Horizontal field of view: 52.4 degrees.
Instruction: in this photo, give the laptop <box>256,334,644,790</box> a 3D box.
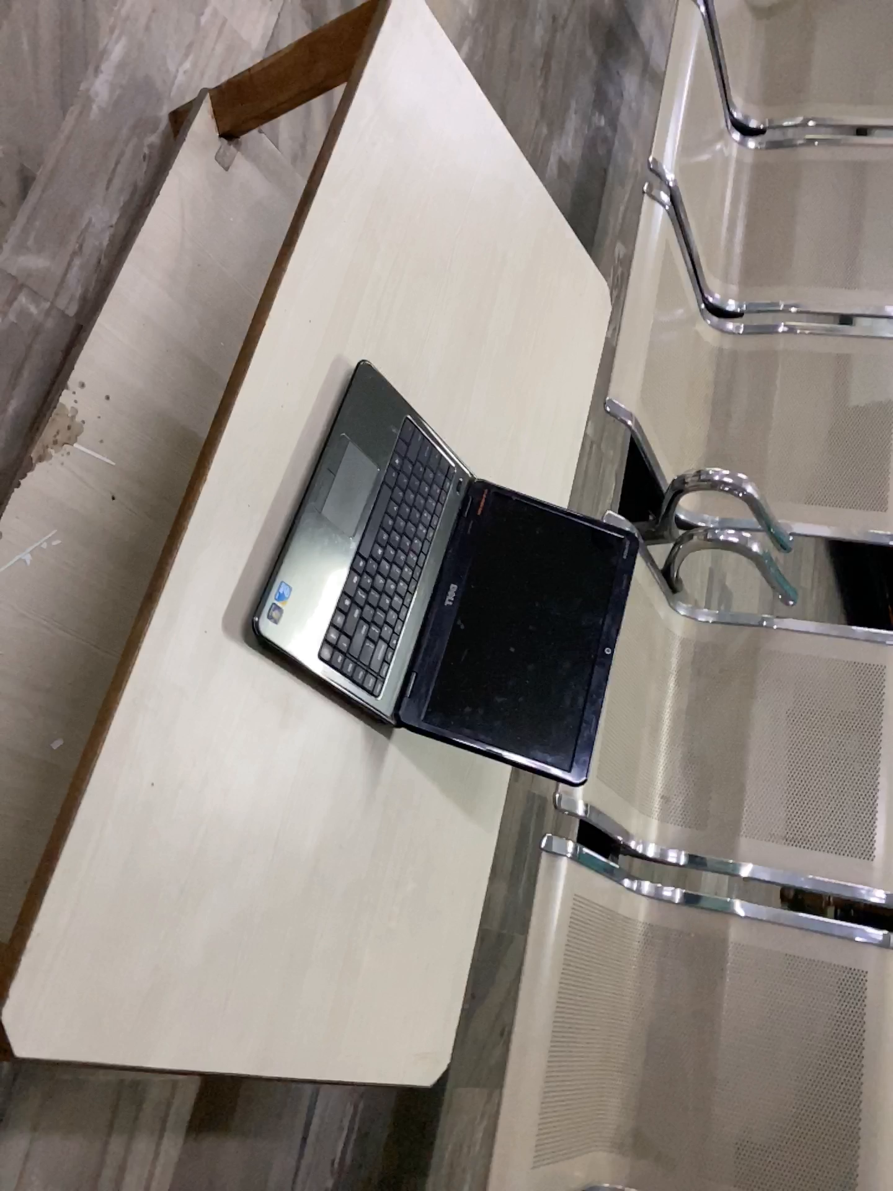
[{"bbox_3d":[0.035,-0.016,0.992,0.380,0.152,0.329,42,57,-43],"label":"laptop"}]
